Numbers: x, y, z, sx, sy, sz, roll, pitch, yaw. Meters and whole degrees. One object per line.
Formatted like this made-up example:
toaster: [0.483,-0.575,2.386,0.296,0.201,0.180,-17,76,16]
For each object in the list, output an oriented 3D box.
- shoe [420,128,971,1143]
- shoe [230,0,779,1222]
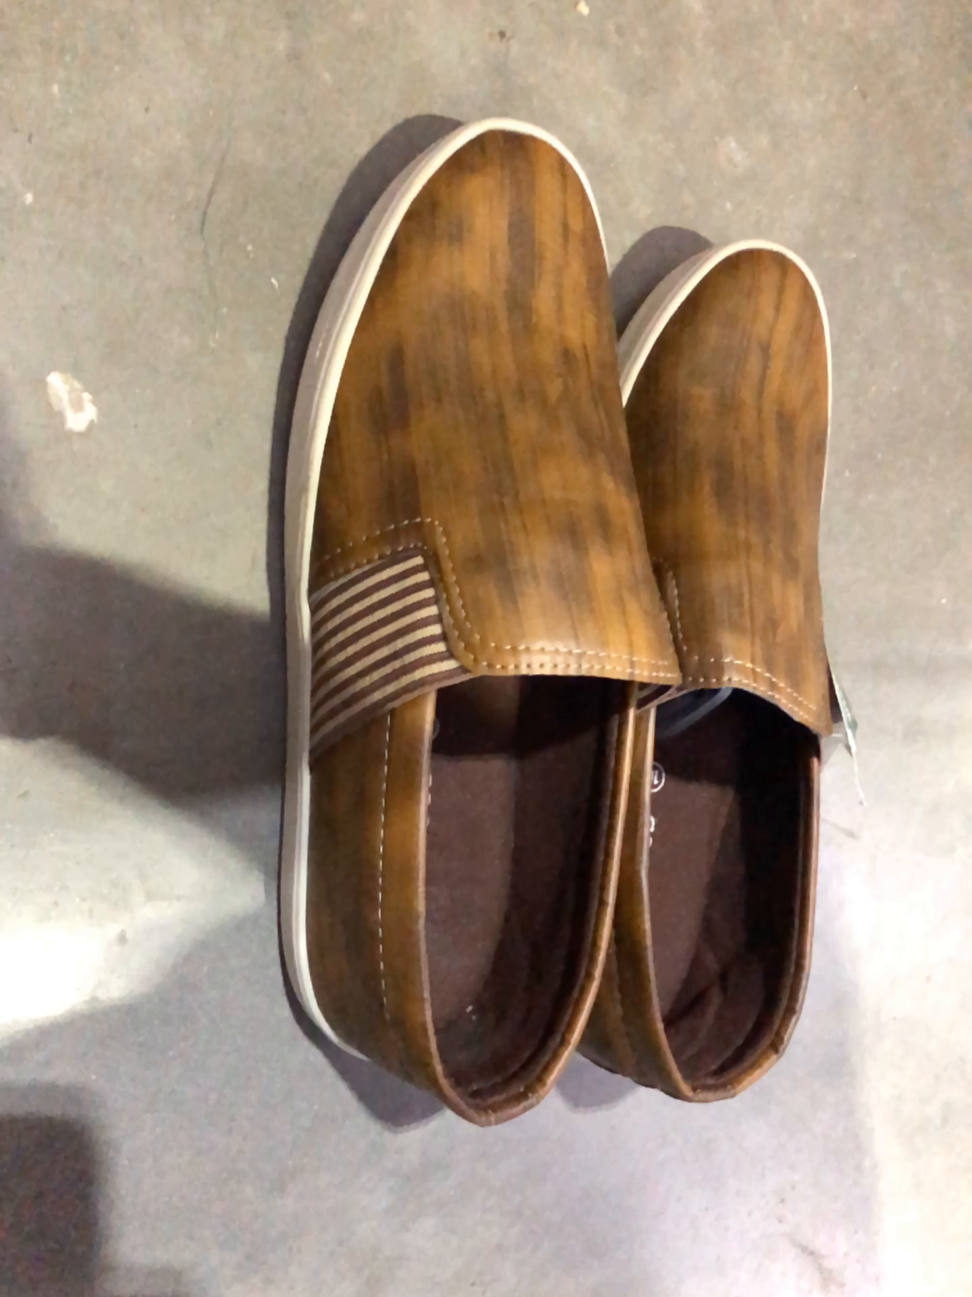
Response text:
shoe: [0.072,0.000,0.372,0.110,0.100,0.290,12,84,-28]
shoe: [0.002,-0.013,0.313,0.100,0.100,0.290,6,87,-28]
